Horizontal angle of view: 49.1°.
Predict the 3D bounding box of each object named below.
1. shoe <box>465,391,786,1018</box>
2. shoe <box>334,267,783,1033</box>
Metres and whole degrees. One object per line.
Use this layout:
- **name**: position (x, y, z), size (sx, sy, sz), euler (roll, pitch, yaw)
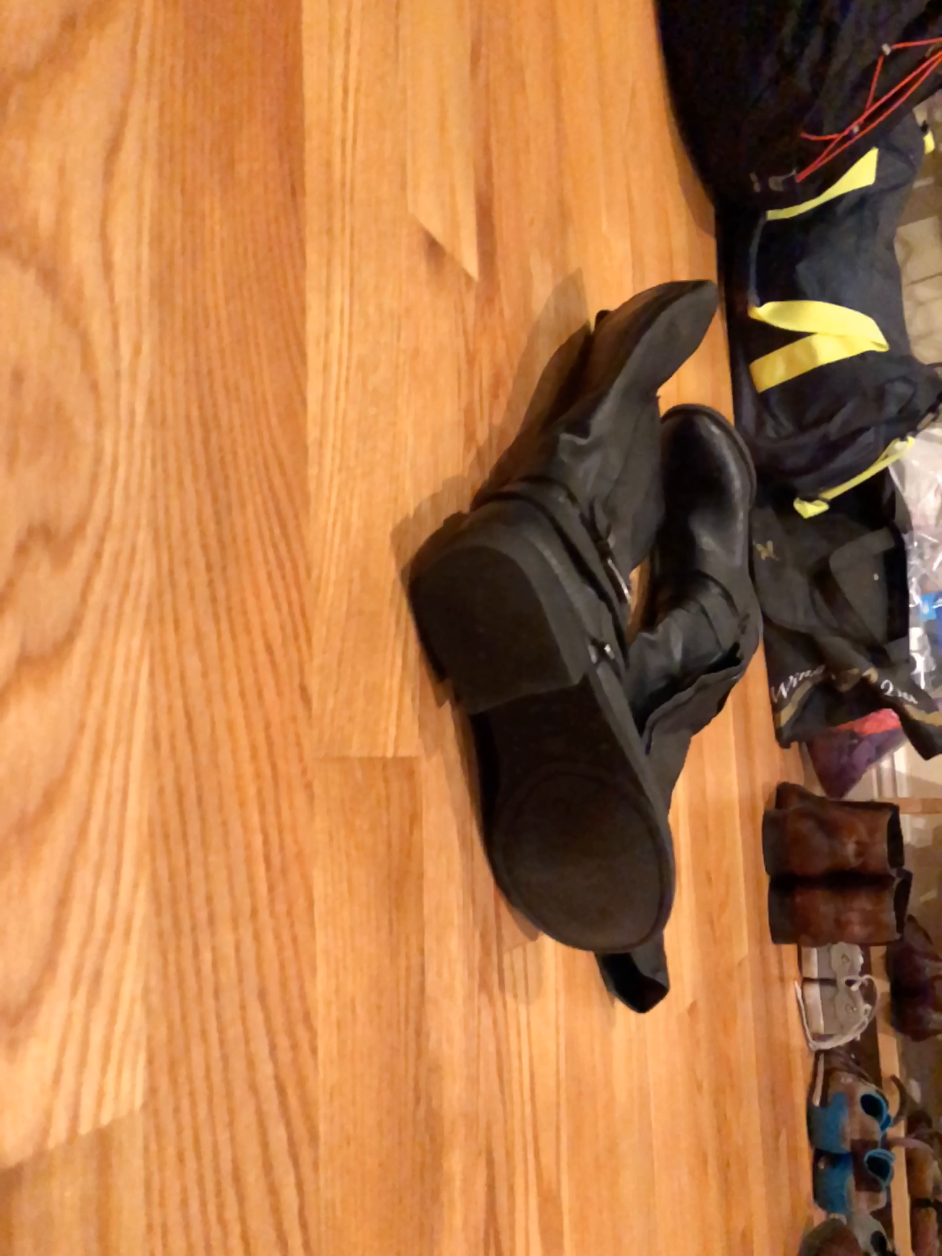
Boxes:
- **shoe**: position (0.134, 0.017, 0.693), size (0.395, 0.094, 0.250), euler (-53, 132, -58)
- **shoe**: position (0.096, -0.025, 0.617), size (0.405, 0.104, 0.290), euler (-53, 132, -56)
